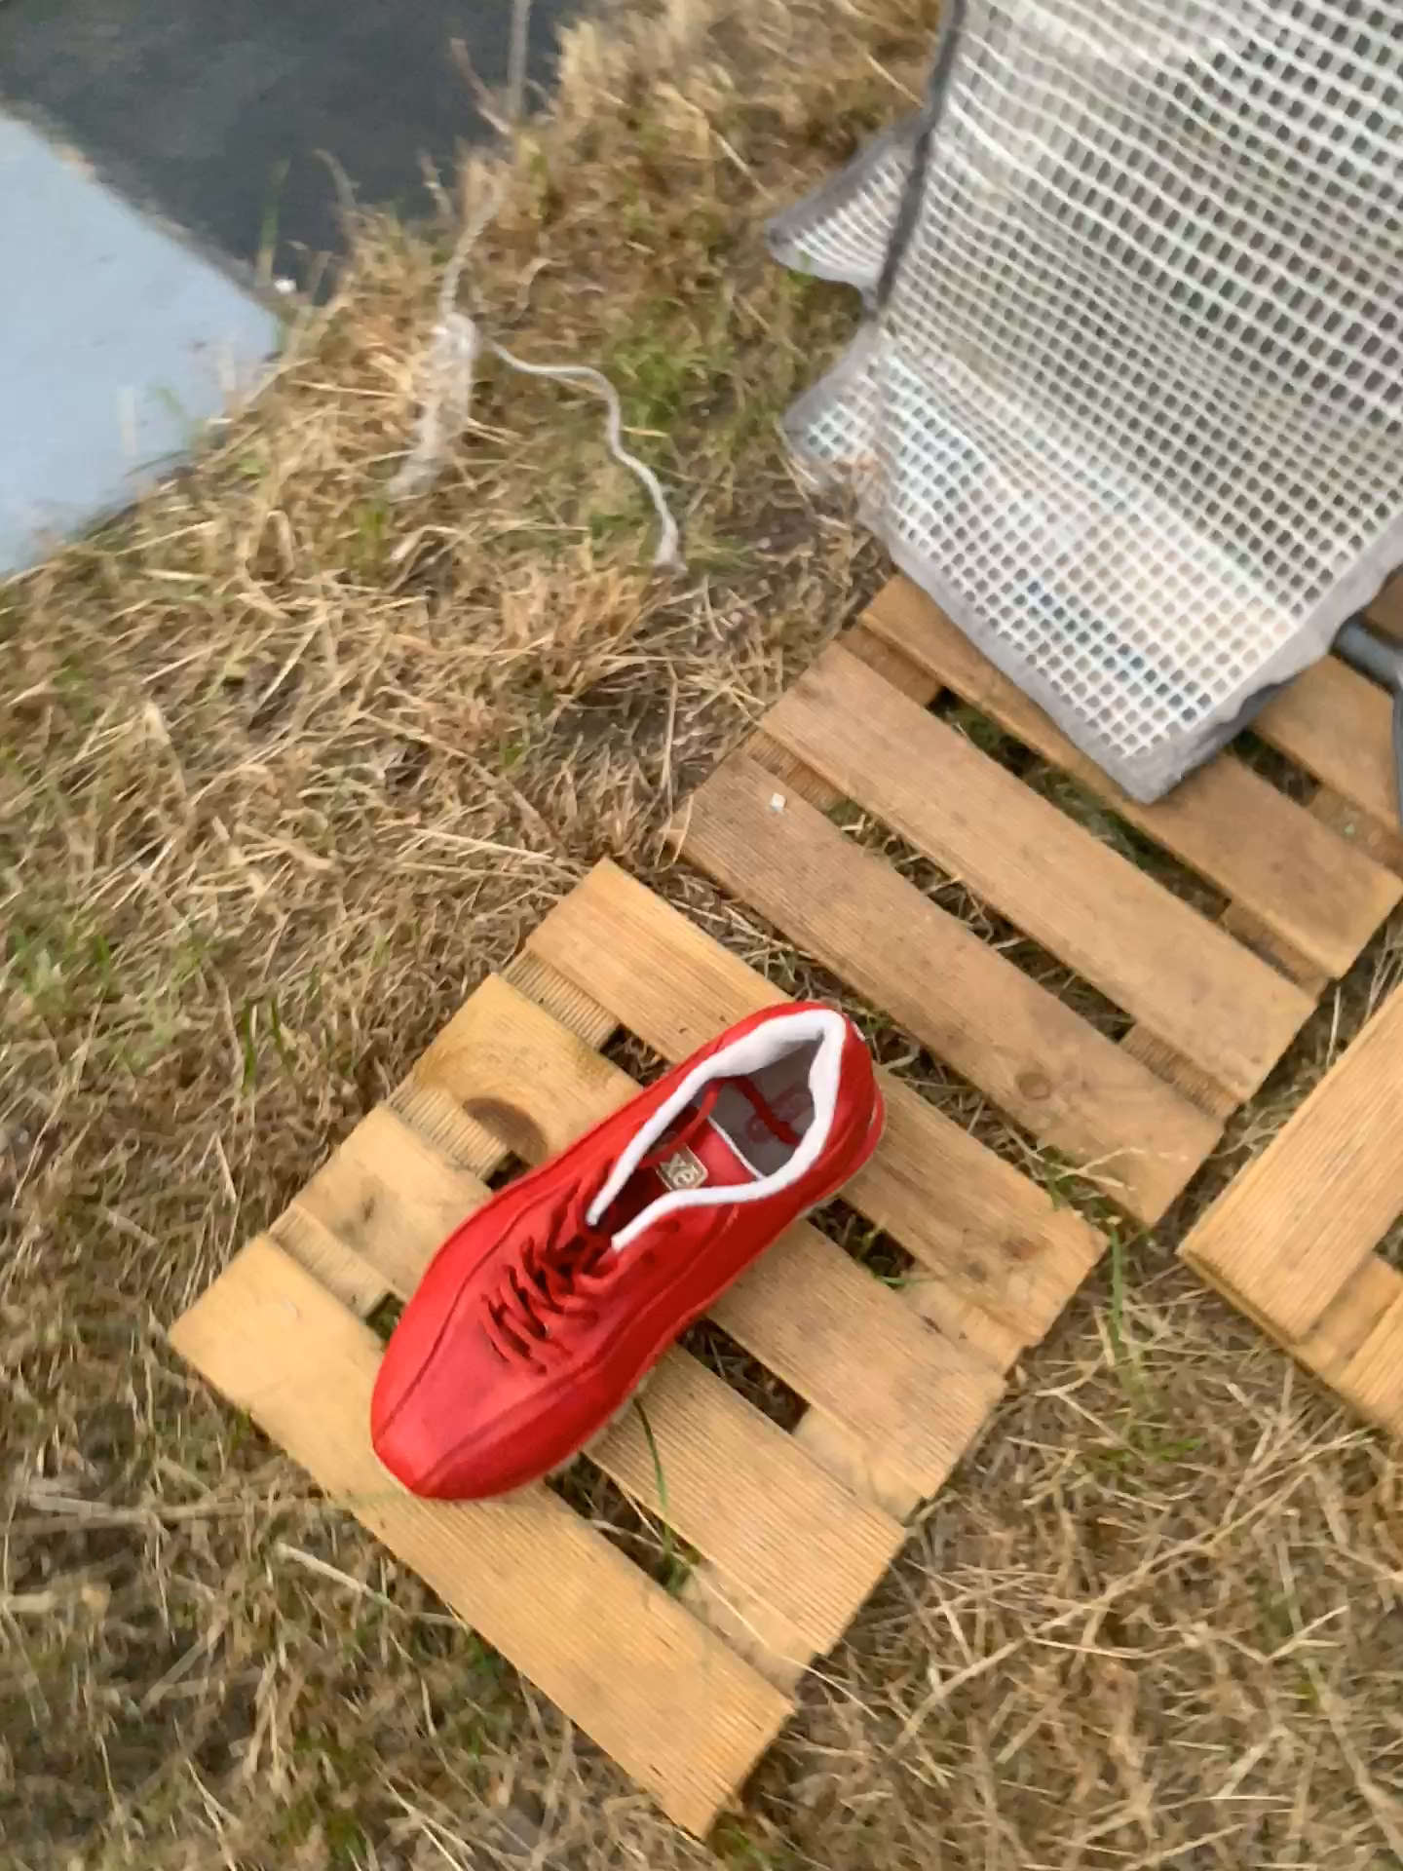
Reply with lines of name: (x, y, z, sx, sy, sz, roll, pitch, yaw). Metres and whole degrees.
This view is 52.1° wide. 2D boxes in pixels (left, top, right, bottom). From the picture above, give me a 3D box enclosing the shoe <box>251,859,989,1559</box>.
shoe: (-0.026, 0.113, 0.597, 0.281, 0.129, 0.100, -39, 74, -19)
